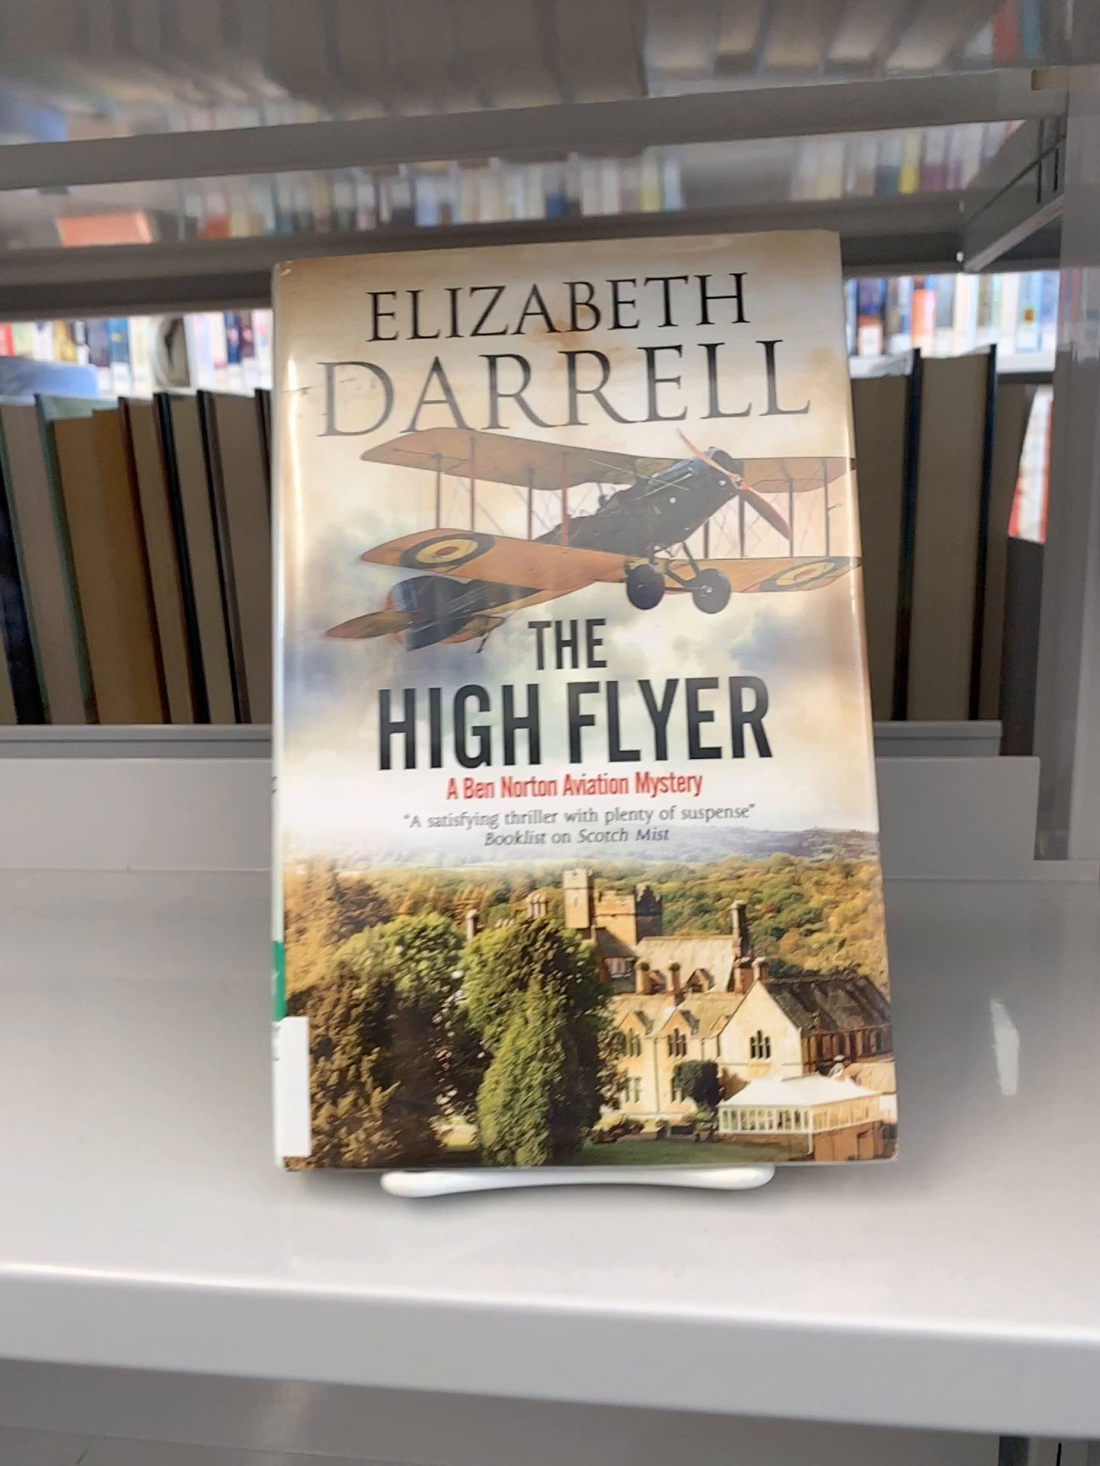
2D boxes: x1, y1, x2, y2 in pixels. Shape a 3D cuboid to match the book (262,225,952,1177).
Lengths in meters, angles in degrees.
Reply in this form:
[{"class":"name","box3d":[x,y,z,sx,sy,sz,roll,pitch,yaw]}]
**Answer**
[{"class":"book","box3d":[0.010,-0.010,0.277,0.151,0.215,0.031,-2,-5,1]}]
